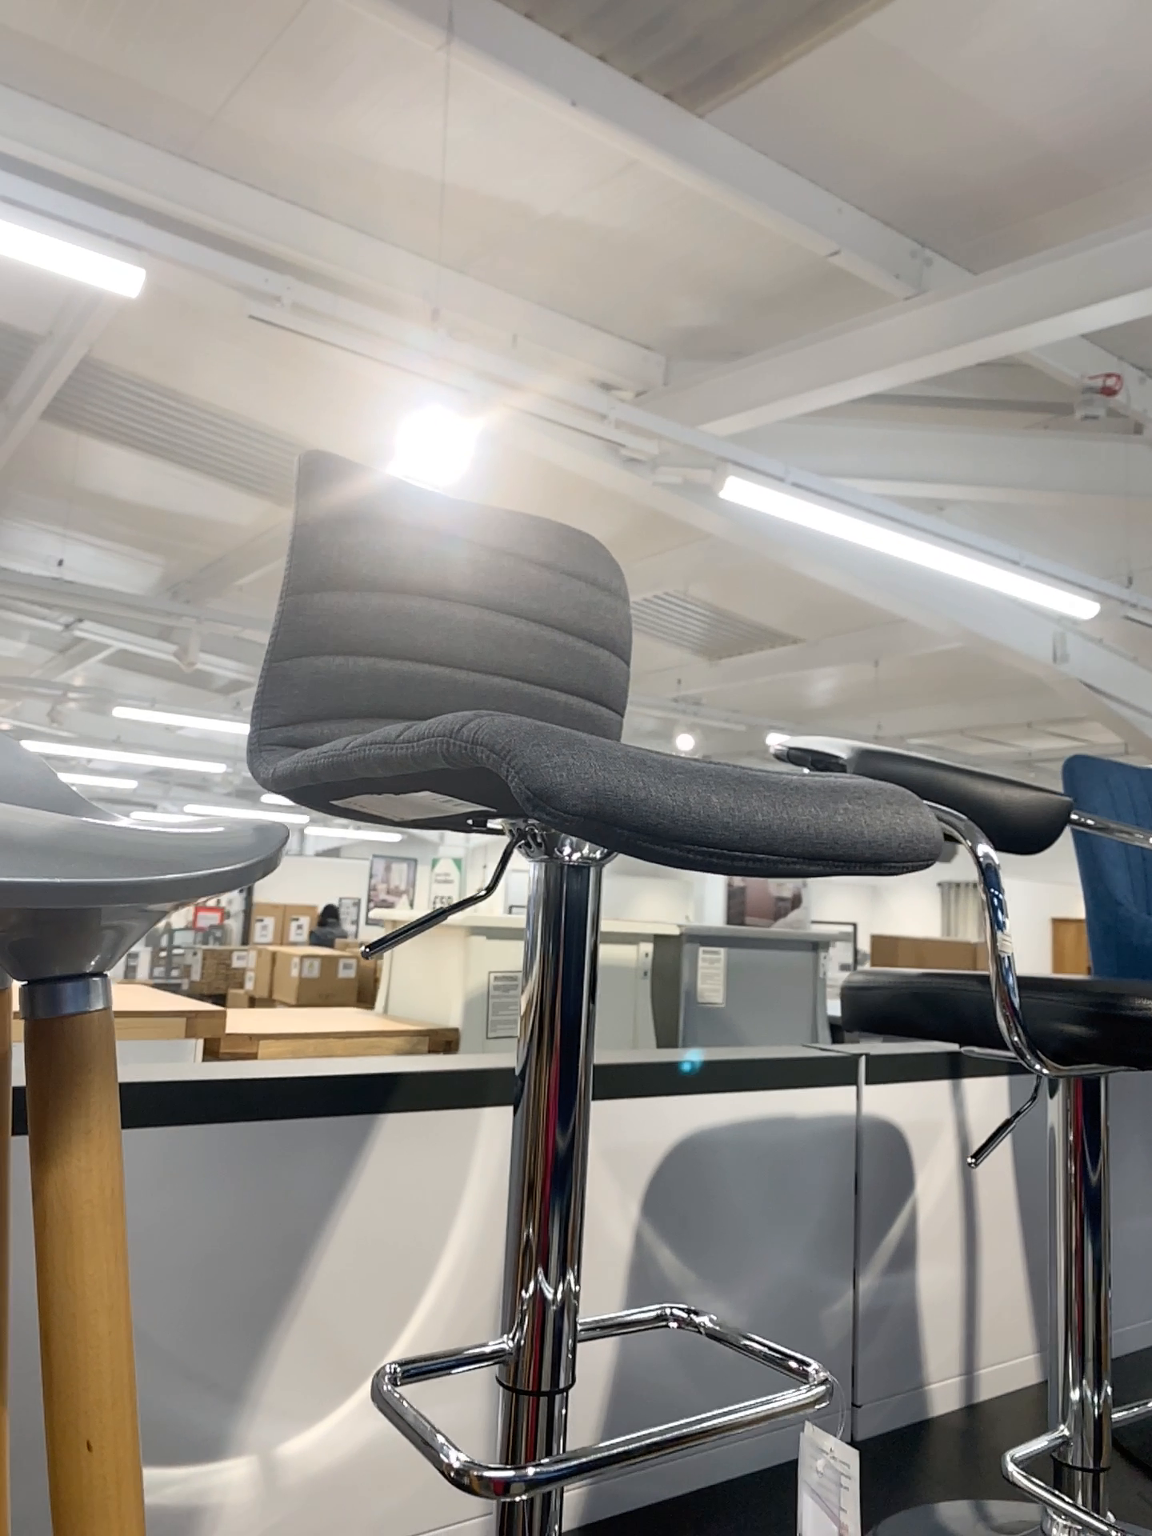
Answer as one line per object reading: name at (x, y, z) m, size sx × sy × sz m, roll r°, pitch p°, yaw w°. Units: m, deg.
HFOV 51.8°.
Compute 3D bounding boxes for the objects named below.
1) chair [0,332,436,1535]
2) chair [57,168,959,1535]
chair at (-0.393, 0.316, 0.503) m, size 0.445 × 0.743 × 0.451 m, roll 9°, pitch -10°, yaw -40°
chair at (-0.038, 0.218, 0.896) m, size 0.445 × 1.033 × 0.451 m, roll 9°, pitch -10°, yaw -40°
